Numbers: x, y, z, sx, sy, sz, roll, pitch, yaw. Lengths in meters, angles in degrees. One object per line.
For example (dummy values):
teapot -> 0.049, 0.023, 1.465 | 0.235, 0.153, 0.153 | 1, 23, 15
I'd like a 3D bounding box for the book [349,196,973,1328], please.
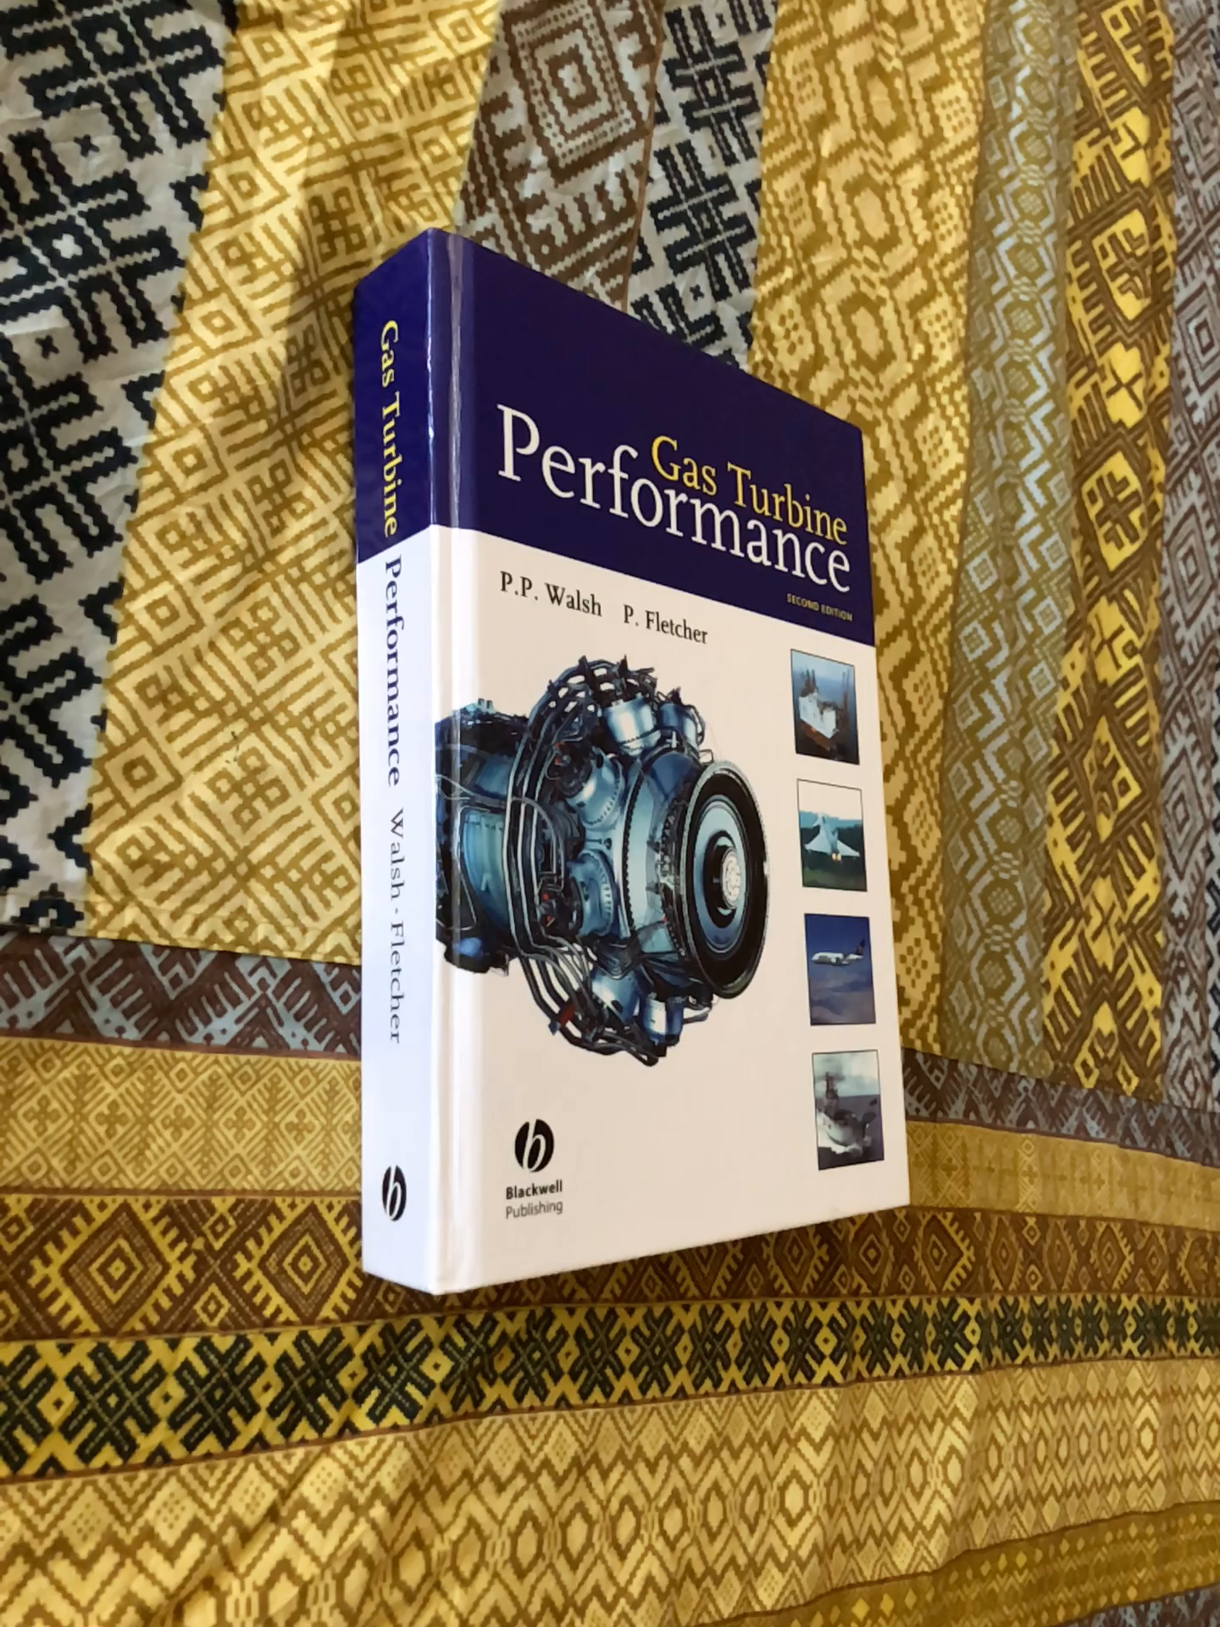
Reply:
book -> 0.021, -0.009, 0.407 | 0.193, 0.060, 0.272 | 7, 77, -45
